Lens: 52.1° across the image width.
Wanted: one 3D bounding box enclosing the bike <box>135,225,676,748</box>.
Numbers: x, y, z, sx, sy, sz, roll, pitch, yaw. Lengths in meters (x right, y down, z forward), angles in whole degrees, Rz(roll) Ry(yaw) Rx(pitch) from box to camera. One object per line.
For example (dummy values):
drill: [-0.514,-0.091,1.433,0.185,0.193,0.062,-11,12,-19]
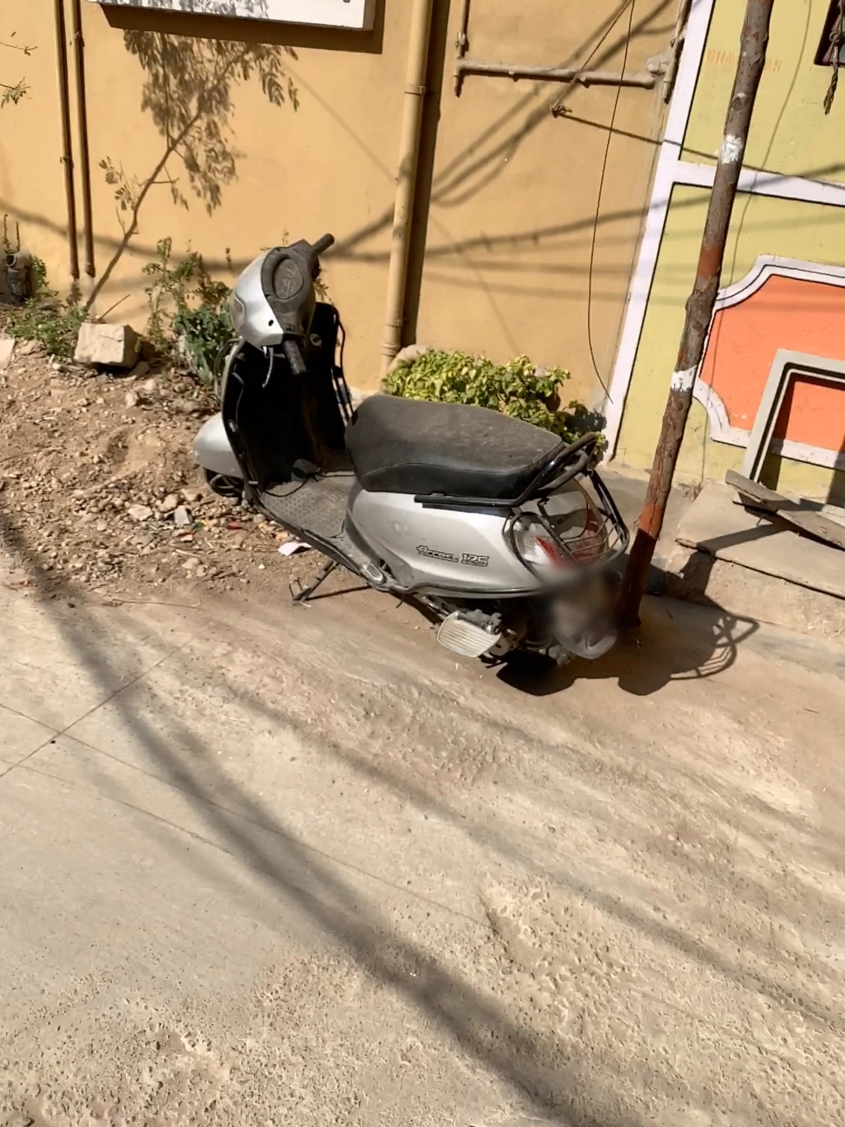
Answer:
bike: [-0.169,-0.347,2.543,1.511,1.000,0.551,27,33,34]
